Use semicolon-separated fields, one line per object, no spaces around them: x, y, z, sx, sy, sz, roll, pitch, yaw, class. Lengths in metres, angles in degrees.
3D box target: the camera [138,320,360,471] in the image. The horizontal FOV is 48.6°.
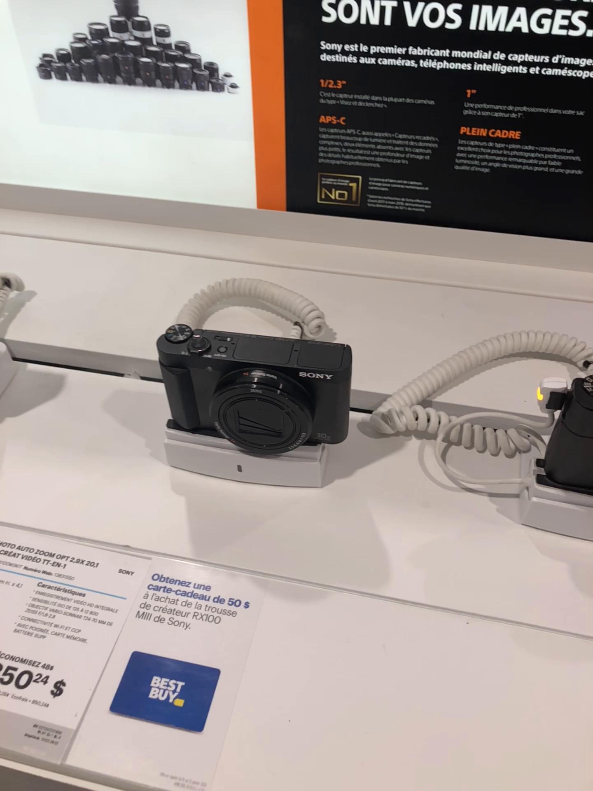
-0.023;0.001;0.361;0.110;0.069;0.030;6;43;8;camera
